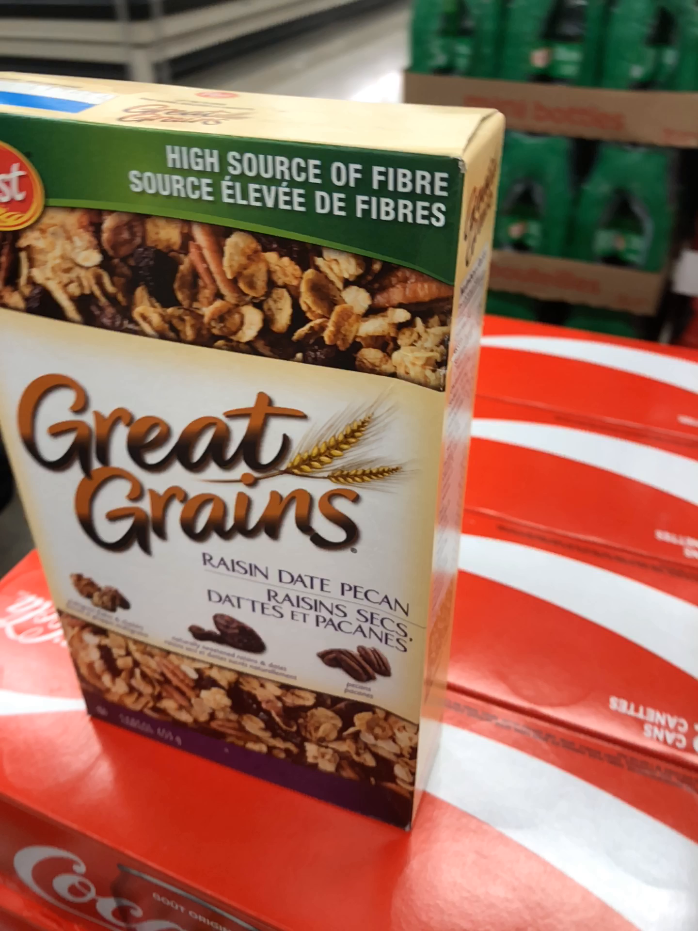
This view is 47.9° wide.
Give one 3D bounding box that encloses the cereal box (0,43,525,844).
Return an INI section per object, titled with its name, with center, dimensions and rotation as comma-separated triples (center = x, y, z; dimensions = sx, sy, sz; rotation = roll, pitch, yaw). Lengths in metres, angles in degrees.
[cereal box]
center = -0.043, 0.009, 0.278
dimensions = 0.170, 0.269, 0.050
rotation = 13, 38, 19
